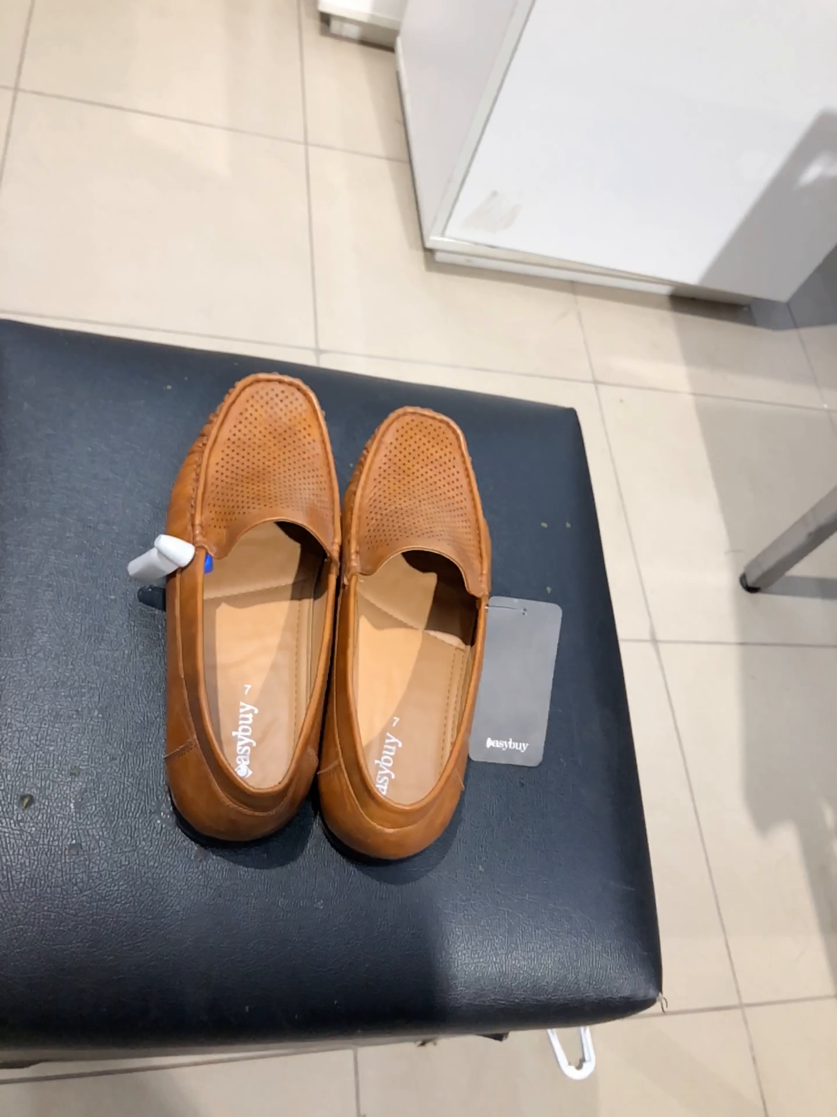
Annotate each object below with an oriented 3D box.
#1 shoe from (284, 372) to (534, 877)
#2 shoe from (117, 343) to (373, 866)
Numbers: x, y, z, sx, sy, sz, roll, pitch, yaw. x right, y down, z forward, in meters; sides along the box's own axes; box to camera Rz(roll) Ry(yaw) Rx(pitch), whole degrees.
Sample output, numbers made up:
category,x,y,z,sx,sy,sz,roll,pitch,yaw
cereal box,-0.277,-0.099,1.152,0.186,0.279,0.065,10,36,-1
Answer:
category,x,y,z,sx,sy,sz,roll,pitch,yaw
shoe,-0.001,0.033,0.522,0.097,0.096,0.253,13,58,-12
shoe,-0.088,0.021,0.497,0.097,0.096,0.253,9,59,-14
